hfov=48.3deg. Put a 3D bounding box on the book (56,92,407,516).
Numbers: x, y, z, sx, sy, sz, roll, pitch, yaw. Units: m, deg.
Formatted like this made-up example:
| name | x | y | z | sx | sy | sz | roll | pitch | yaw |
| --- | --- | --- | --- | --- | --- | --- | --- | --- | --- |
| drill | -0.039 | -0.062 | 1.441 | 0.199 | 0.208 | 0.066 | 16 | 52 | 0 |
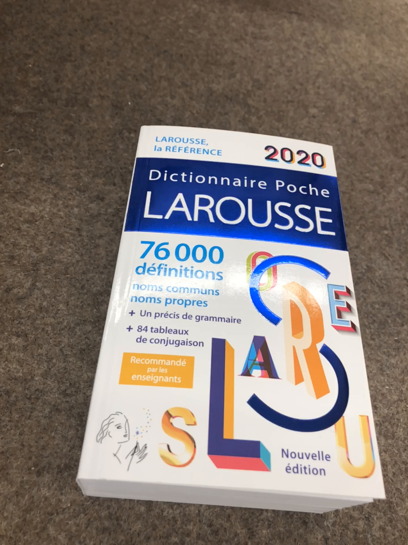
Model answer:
| name | x | y | z | sx | sy | sz | roll | pitch | yaw |
| --- | --- | --- | --- | --- | --- | --- | --- | --- | --- |
| book | 0.009 | 0.008 | 0.221 | 0.116 | 0.060 | 0.185 | 8 | 57 | -9 |
